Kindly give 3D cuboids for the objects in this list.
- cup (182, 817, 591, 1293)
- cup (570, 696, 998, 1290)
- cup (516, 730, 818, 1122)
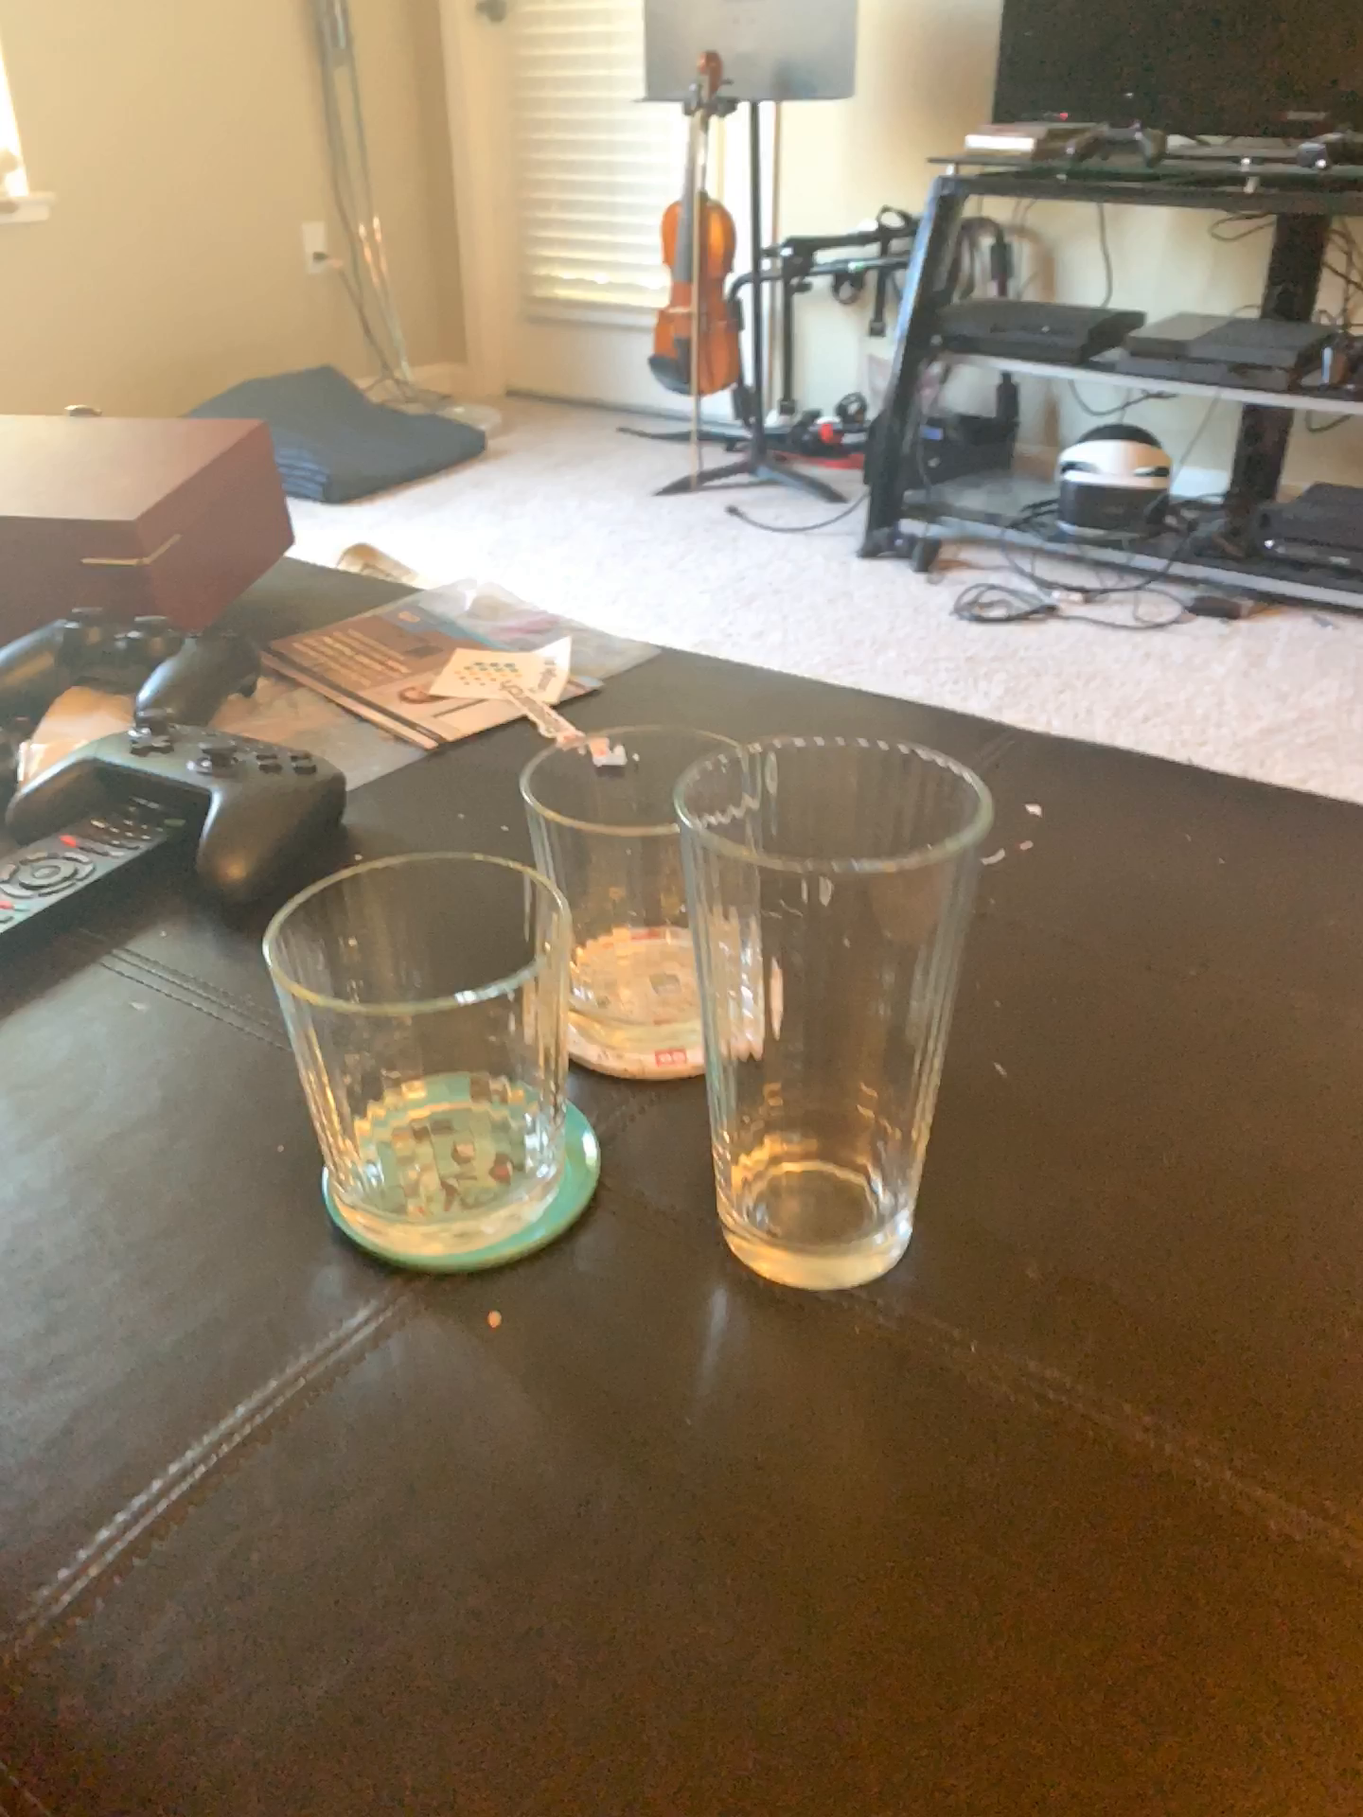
[{"bbox_3d":[-0.094,0.041,0.450,0.090,0.090,0.100,-17,35,-26],"label":"cup"},{"bbox_3d":[0.028,0.023,0.428,0.090,0.139,0.080,-17,35,-26],"label":"cup"},{"bbox_3d":[-0.007,0.004,0.557,0.080,0.109,0.090,-17,35,-26],"label":"cup"}]
